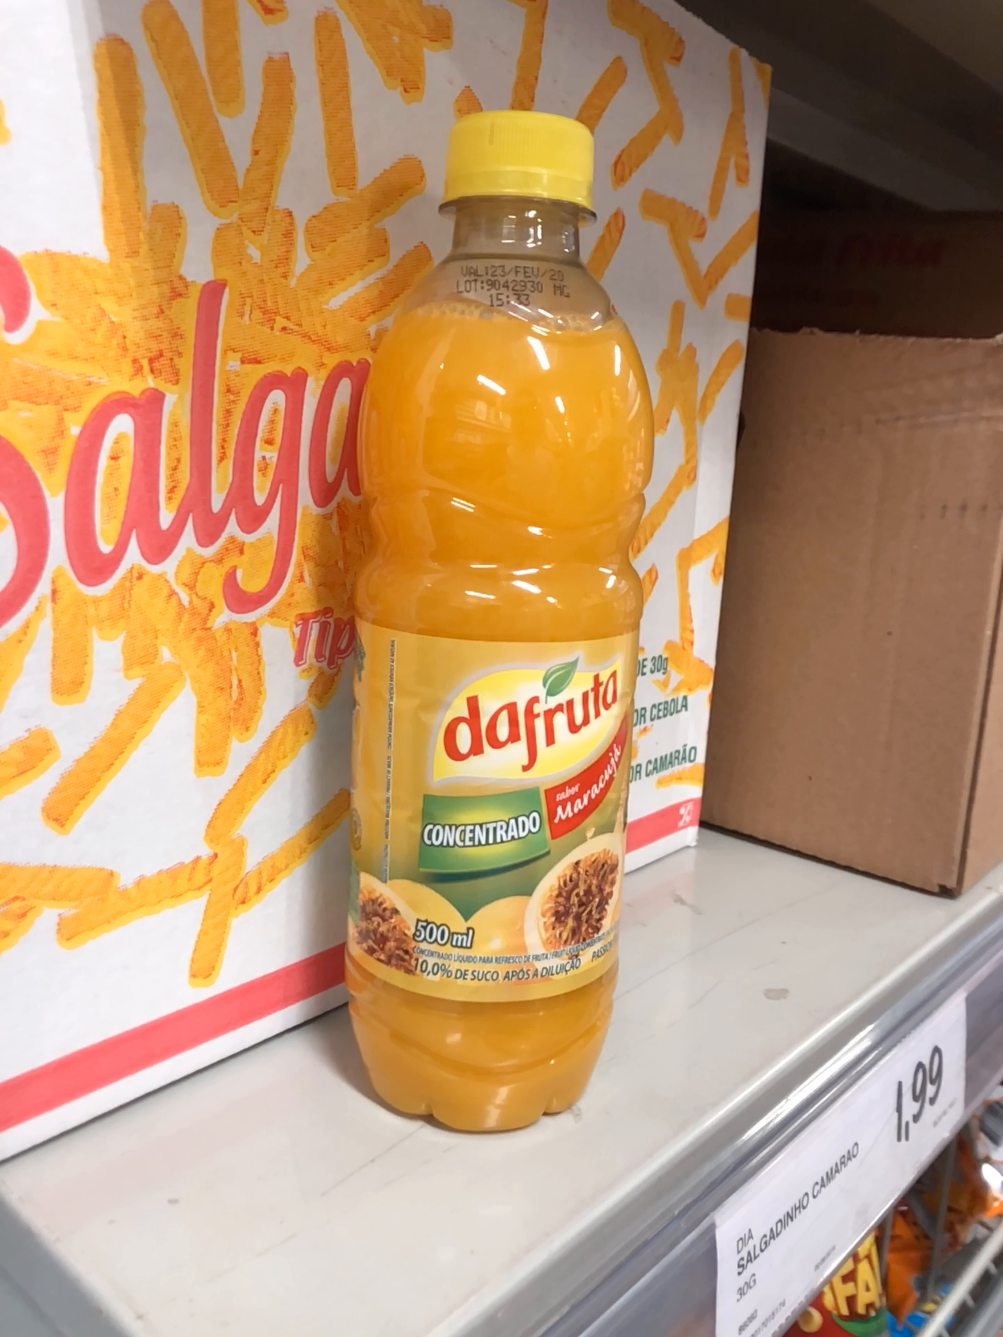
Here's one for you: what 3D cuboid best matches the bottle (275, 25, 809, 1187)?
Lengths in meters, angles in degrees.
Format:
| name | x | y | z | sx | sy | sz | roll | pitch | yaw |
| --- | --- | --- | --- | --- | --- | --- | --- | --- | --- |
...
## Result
| name | x | y | z | sx | sy | sz | roll | pitch | yaw |
| --- | --- | --- | --- | --- | --- | --- | --- | --- | --- |
| bottle | 0.002 | -0.009 | 0.231 | 0.070 | 0.199 | 0.060 | -4 | 16 | -33 |
